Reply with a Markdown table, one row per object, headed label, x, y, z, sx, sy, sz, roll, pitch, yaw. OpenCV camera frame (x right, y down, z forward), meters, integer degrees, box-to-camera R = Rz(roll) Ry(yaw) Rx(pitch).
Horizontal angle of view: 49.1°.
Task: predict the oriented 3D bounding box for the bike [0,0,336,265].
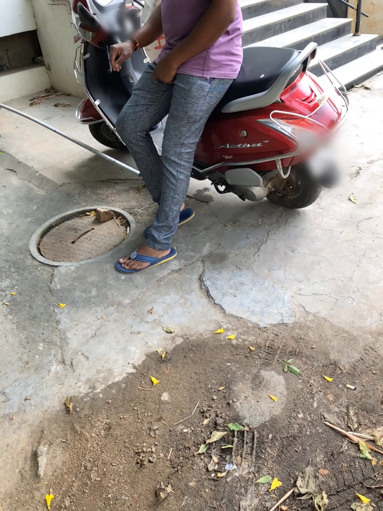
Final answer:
| label | x | y | z | sx | sy | sz | roll | pitch | yaw |
| --- | --- | --- | --- | --- | --- | --- | --- | --- | --- |
| bike | -0.181 | -0.775 | 1.954 | 1.478 | 1.056 | 0.575 | 20 | 44 | 31 |
